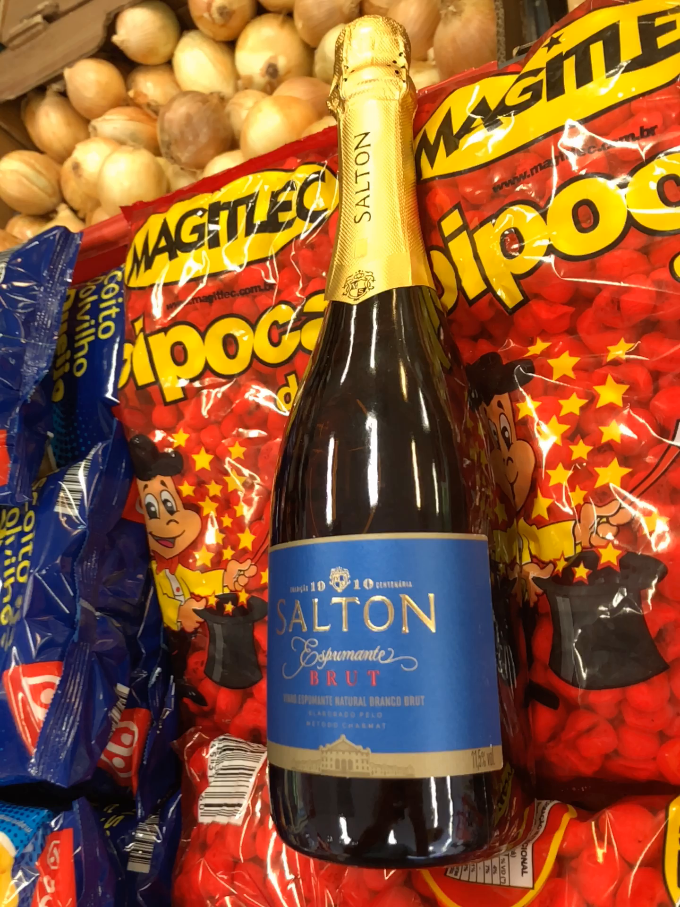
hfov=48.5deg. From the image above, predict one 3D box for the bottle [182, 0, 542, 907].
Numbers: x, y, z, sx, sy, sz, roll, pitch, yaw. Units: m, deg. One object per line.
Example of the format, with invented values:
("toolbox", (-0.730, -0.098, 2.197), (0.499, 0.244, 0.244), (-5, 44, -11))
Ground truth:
("bottle", (0.007, -0.024, 0.271), (0.090, 0.080, 0.310), (-6, 79, 28))
